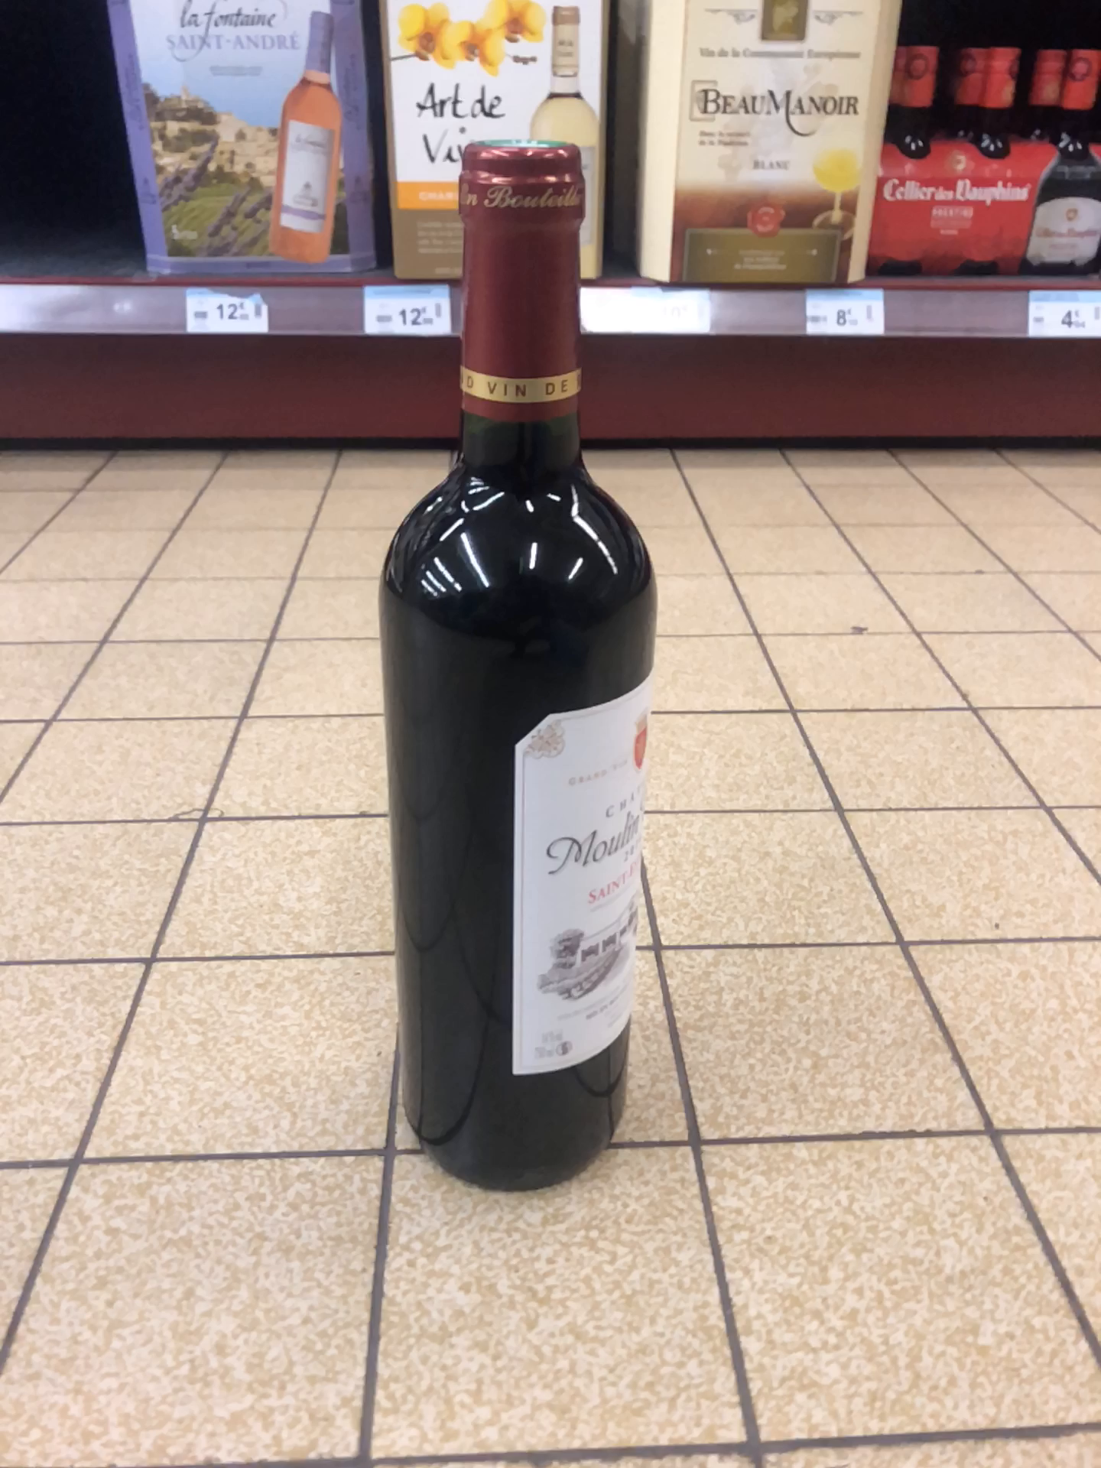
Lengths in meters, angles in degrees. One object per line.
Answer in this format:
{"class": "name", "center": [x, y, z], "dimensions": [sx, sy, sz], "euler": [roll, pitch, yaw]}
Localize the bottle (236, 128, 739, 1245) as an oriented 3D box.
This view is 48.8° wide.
{"class": "bottle", "center": [-0.012, -0.004, 0.327], "dimensions": [0.080, 0.281, 0.081], "euler": [1, 28, 0]}
